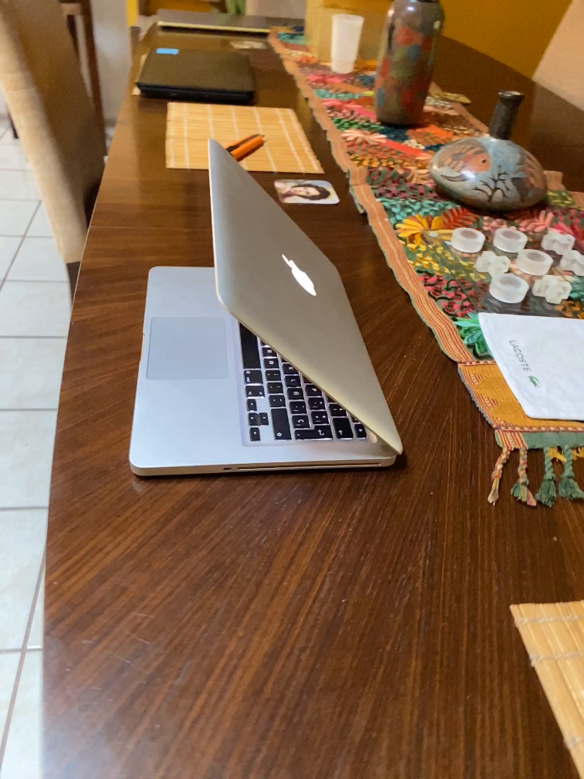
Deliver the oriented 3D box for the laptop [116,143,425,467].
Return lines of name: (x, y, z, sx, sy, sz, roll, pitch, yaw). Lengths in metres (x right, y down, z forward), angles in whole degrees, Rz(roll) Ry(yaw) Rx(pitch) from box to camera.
laptop: (-0.042, -0.101, 0.577, 0.213, 0.152, 0.323, -1, 40, -10)
